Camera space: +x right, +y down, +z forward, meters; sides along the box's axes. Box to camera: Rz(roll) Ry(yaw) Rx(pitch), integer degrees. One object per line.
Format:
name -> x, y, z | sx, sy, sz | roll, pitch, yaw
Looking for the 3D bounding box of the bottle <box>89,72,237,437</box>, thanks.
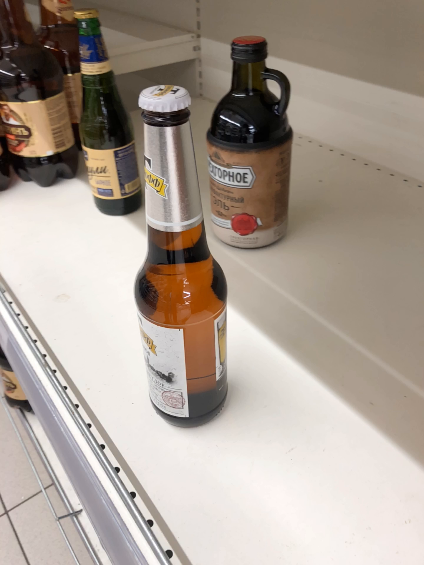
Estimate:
bottle -> -0.028, -0.004, 0.333 | 0.070, 0.249, 0.080 | -9, 39, -10
